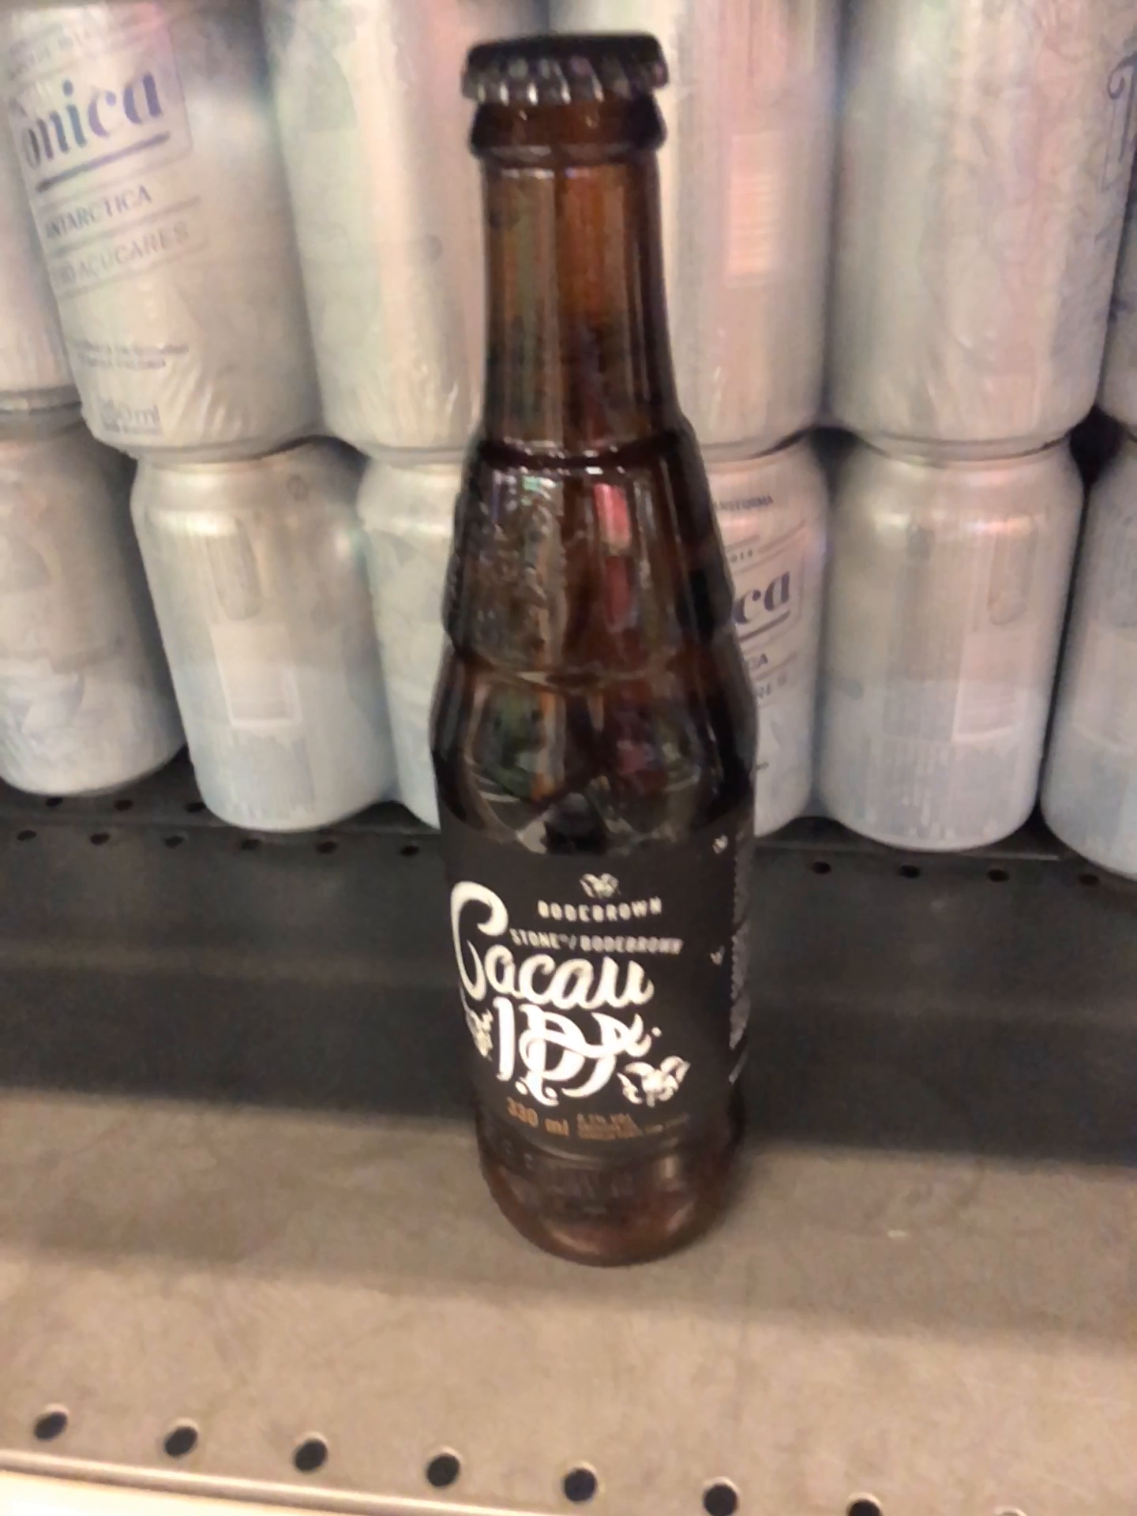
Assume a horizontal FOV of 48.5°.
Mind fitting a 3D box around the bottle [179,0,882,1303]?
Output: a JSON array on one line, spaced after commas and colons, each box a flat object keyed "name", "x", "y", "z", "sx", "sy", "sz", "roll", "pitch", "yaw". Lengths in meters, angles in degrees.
[{"name": "bottle", "x": 0.005, "y": -0.009, "z": 0.243, "sx": 0.080, "sy": 0.248, "sz": 0.071, "roll": 7, "pitch": 35, "yaw": 14}]
